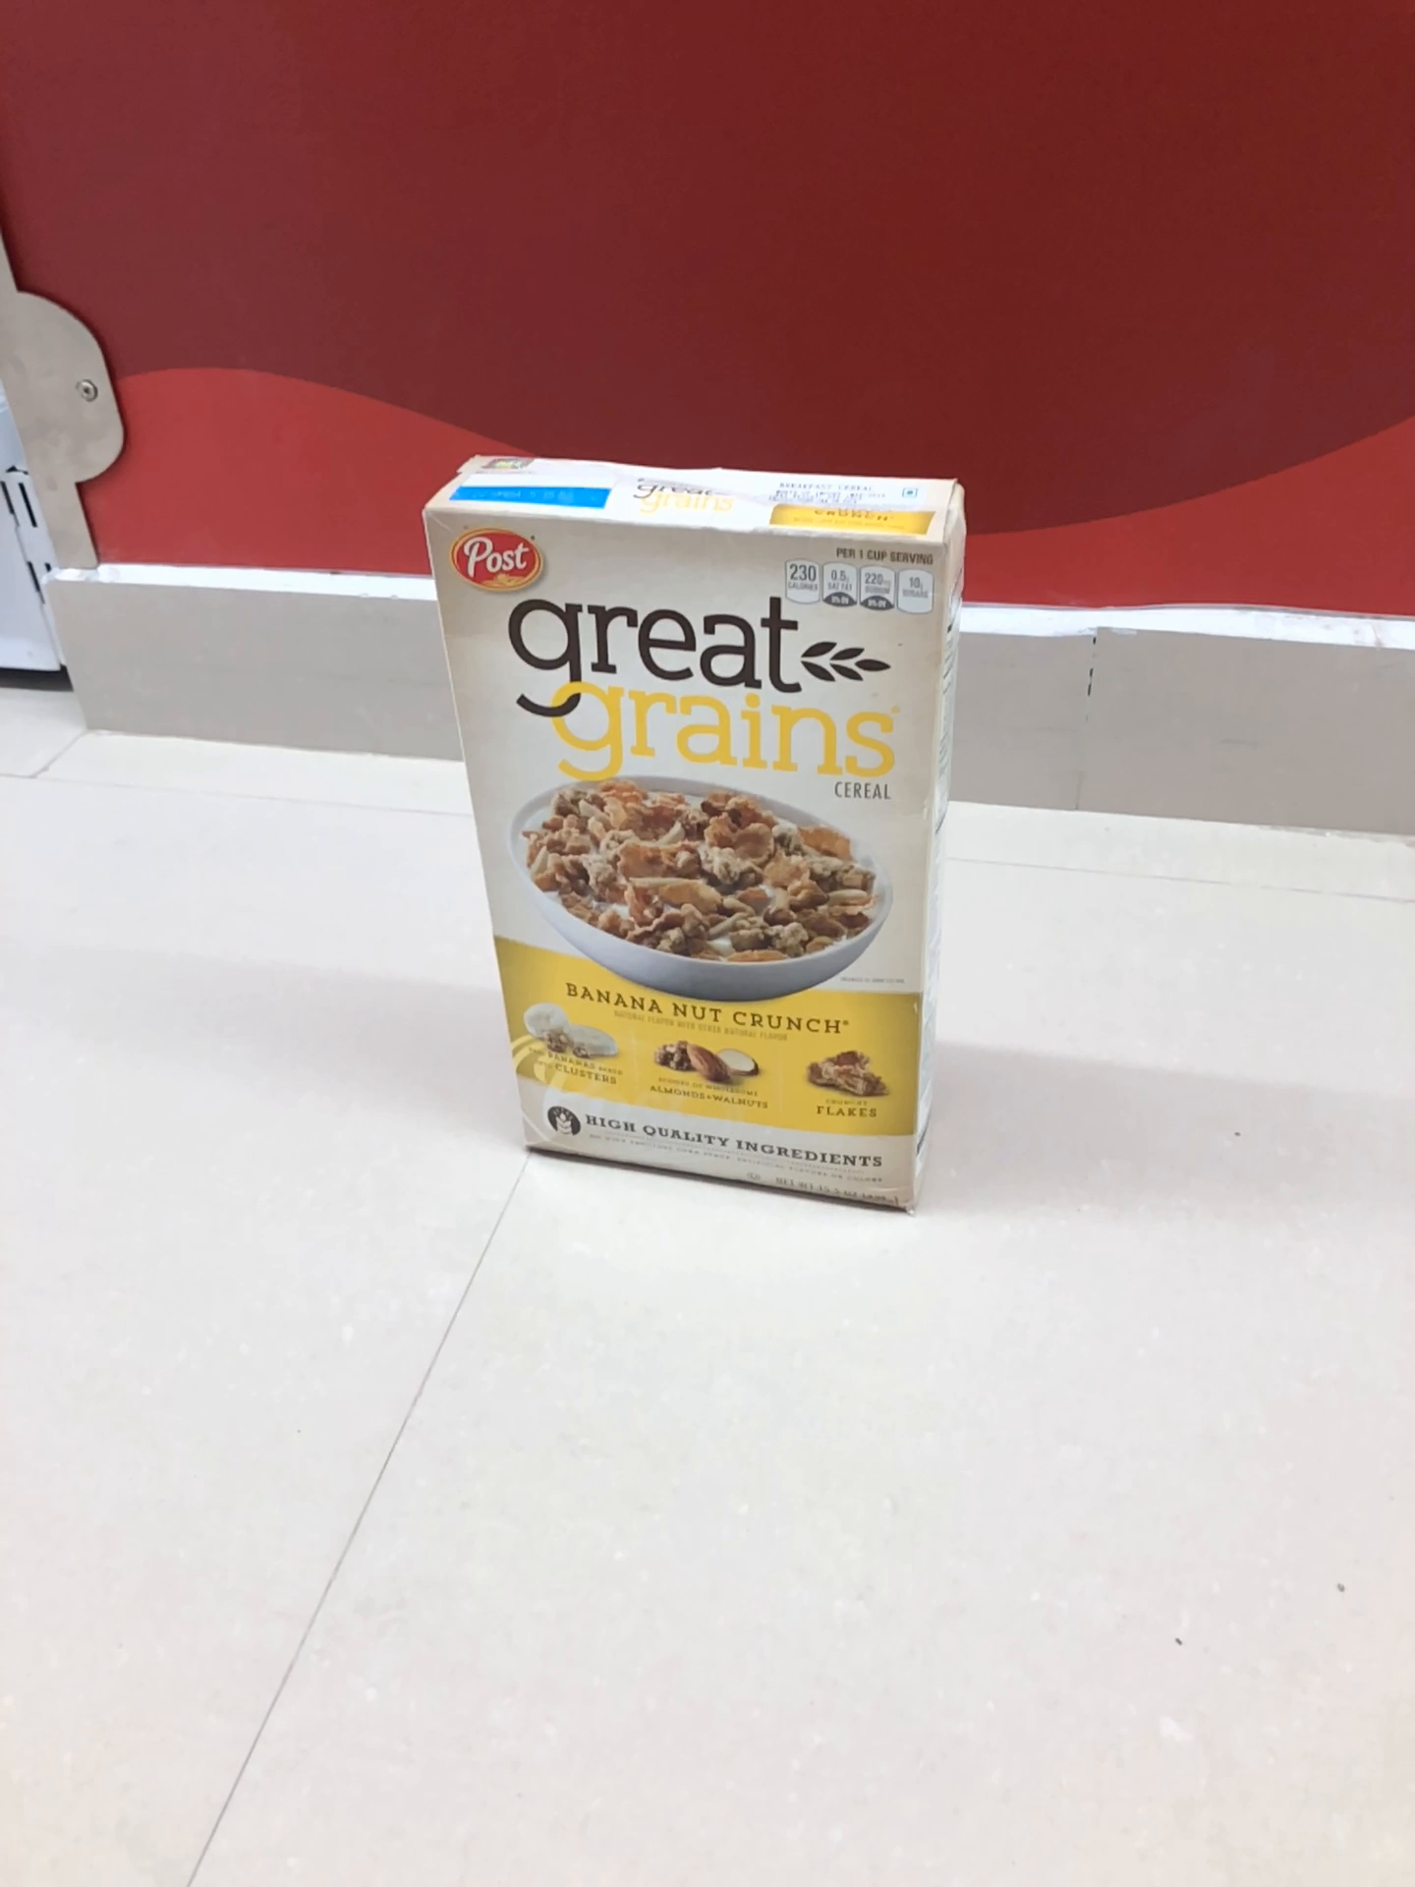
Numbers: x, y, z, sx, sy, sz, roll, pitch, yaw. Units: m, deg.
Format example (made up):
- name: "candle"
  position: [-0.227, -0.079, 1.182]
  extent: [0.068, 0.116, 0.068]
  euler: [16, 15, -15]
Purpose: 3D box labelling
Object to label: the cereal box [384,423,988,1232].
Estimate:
- name: "cereal box"
  position: [0.000, -0.029, 0.516]
  extent: [0.160, 0.258, 0.060]
  euler: [7, 38, 12]
